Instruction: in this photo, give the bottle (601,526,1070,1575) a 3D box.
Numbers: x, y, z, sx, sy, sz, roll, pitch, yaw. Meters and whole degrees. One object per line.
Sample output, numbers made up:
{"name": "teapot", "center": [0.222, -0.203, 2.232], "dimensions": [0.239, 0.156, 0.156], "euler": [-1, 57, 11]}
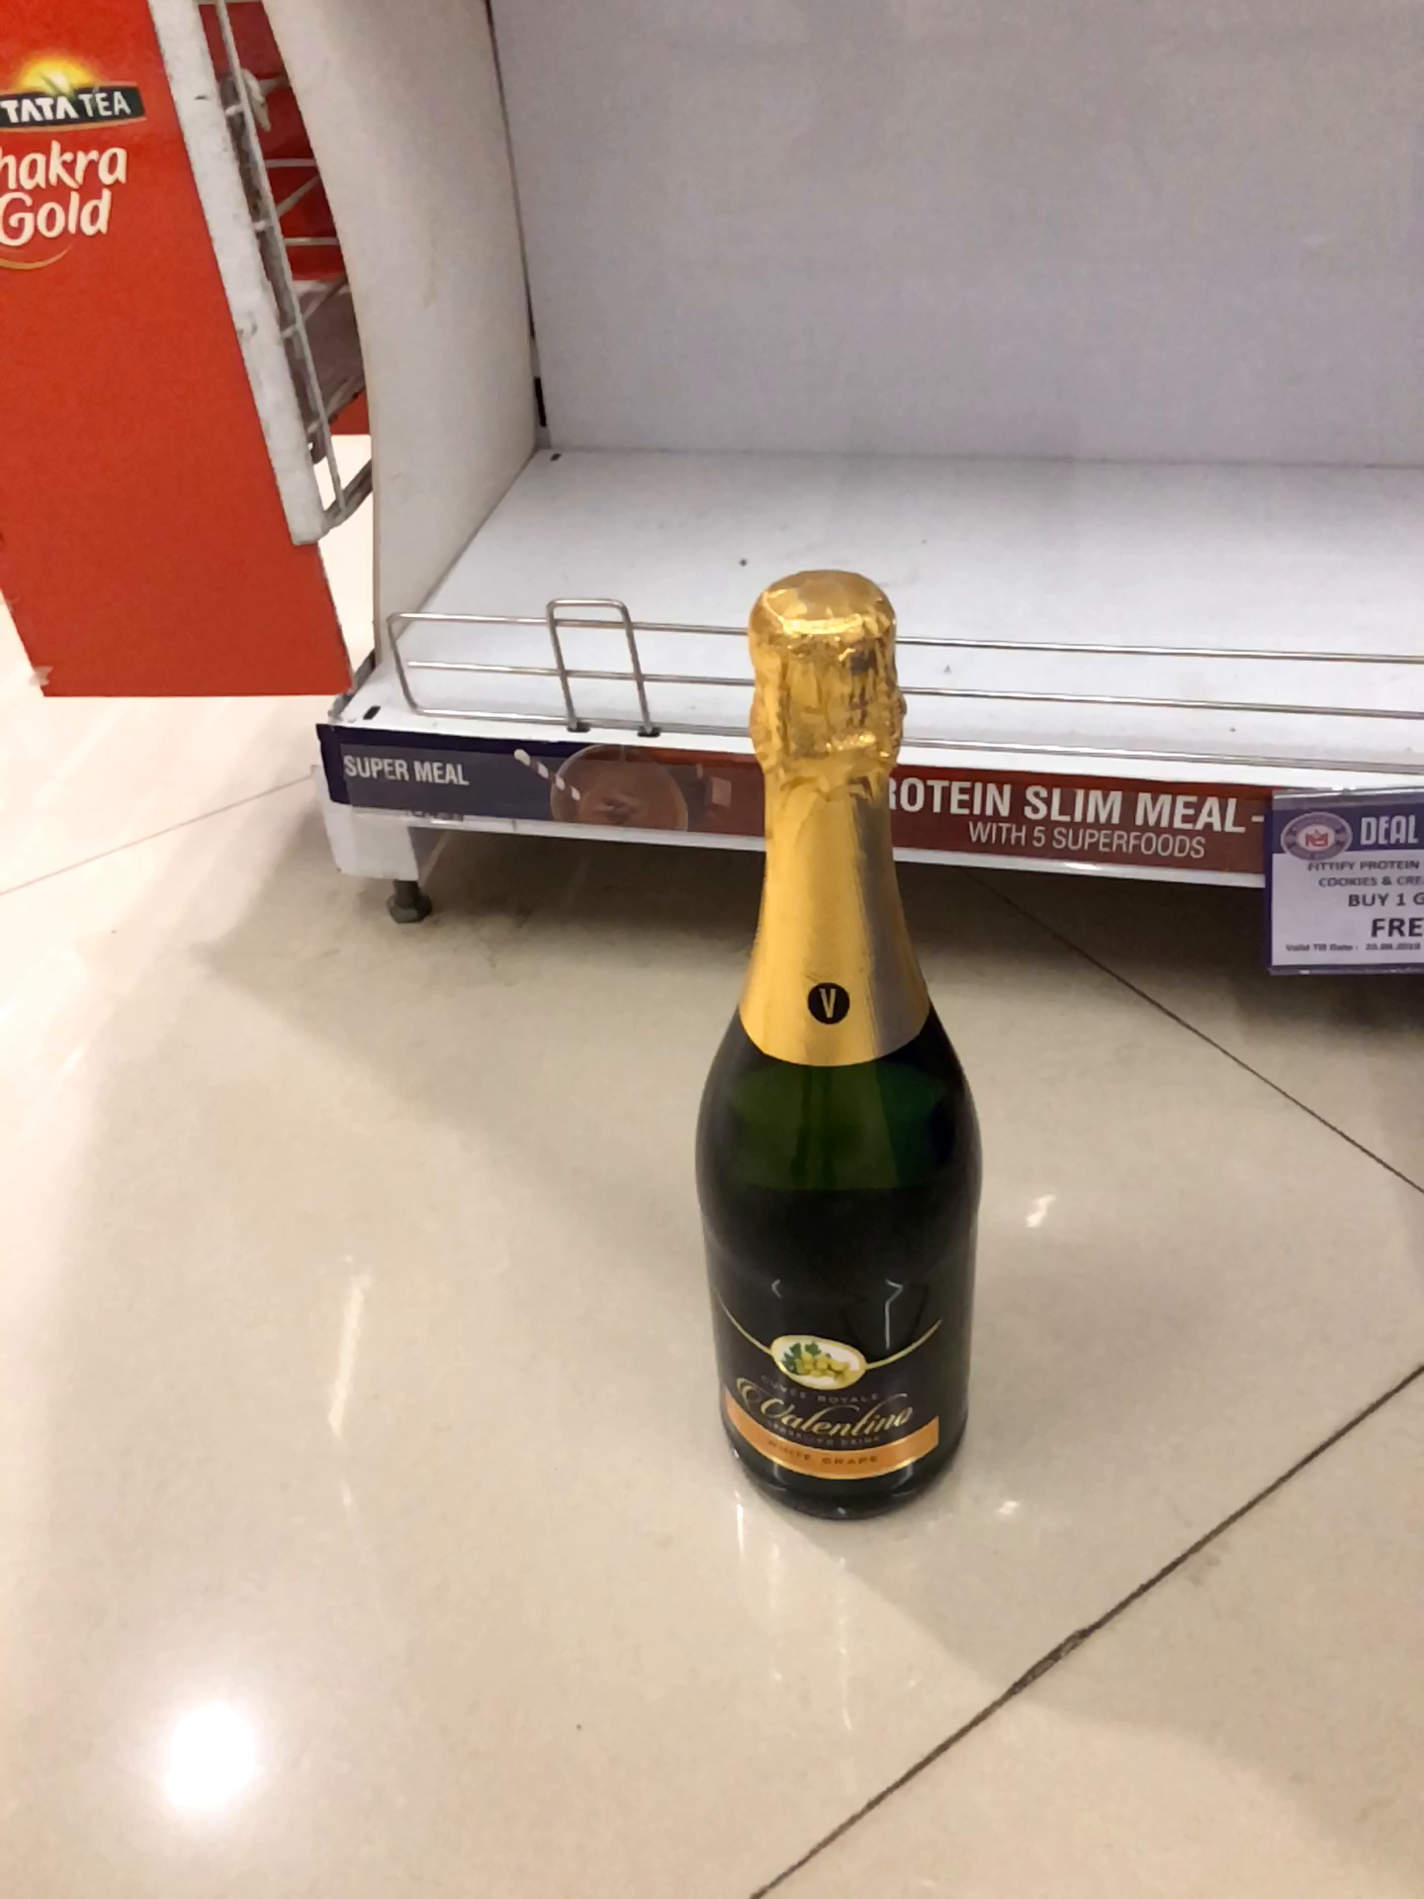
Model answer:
{"name": "bottle", "center": [0.040, 0.045, 0.429], "dimensions": [0.090, 0.298, 0.091], "euler": [-3, 39, 2]}
